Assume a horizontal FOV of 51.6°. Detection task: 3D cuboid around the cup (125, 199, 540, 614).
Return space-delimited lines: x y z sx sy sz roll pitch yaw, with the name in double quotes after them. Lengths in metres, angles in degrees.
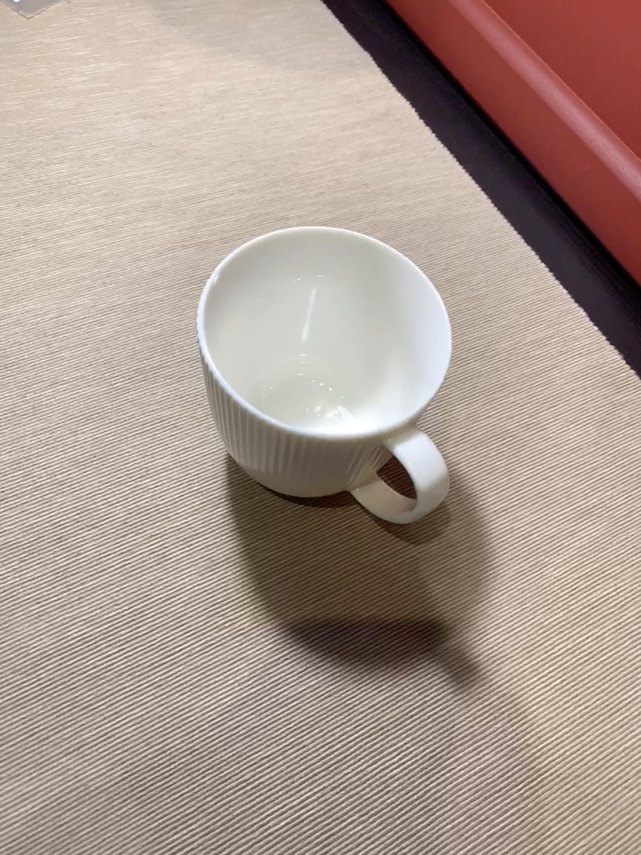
-0.001 -0.011 0.241 0.090 0.060 0.110 -28 68 -21 "cup"
